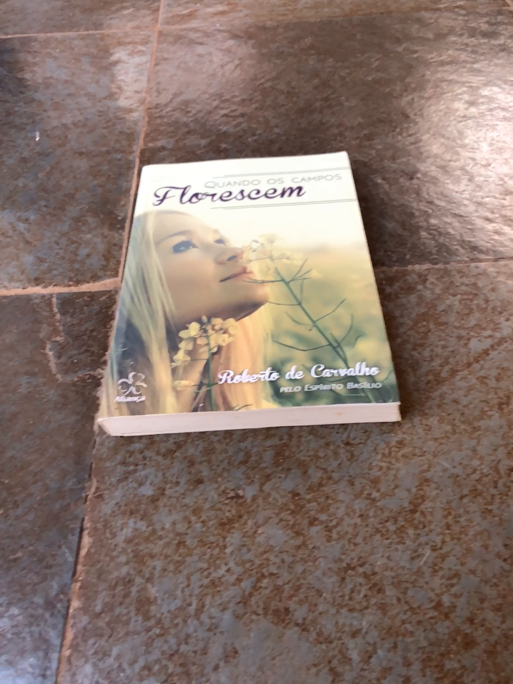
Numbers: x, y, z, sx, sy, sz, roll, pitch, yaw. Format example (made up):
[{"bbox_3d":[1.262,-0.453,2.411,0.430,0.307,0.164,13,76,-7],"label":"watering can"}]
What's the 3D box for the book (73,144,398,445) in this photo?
[{"bbox_3d":[-0.013,-0.046,0.359,0.161,0.022,0.227,-4,51,2],"label":"book"}]
